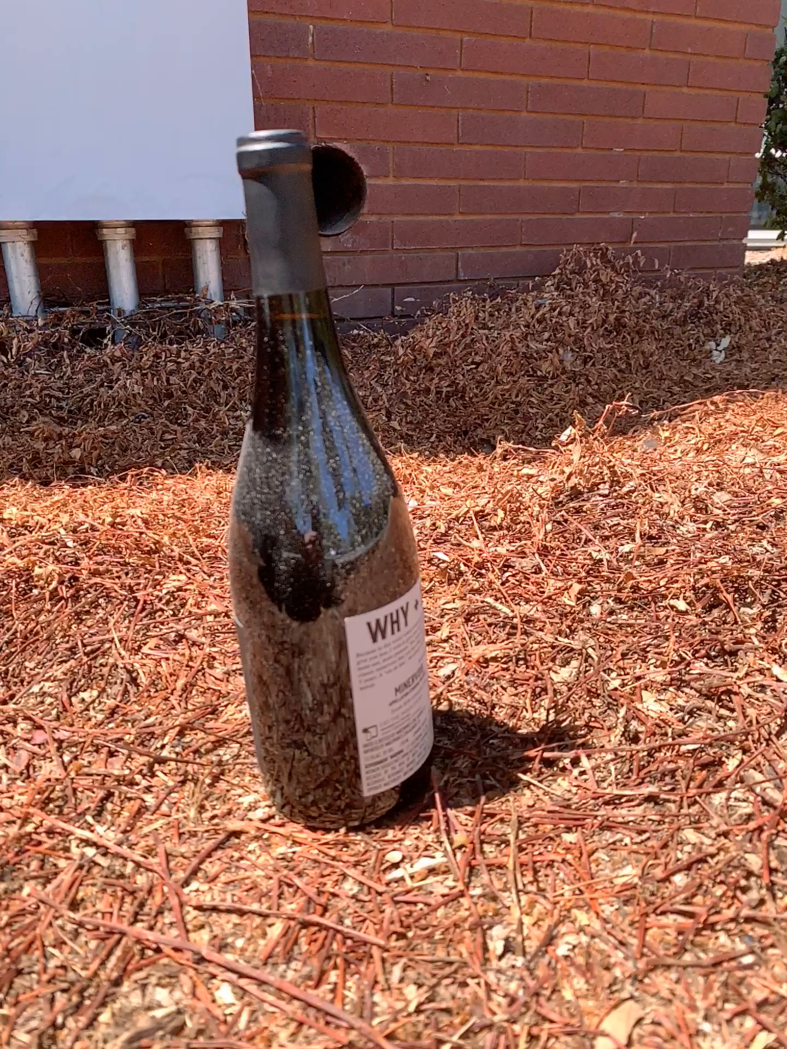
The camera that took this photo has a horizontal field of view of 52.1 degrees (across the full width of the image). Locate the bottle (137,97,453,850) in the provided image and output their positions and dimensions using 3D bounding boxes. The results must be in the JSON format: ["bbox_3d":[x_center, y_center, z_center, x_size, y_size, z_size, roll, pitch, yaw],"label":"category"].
[{"bbox_3d":[-0.028,-0.014,0.335,0.090,0.279,0.090,0,20,0],"label":"bottle"}]
